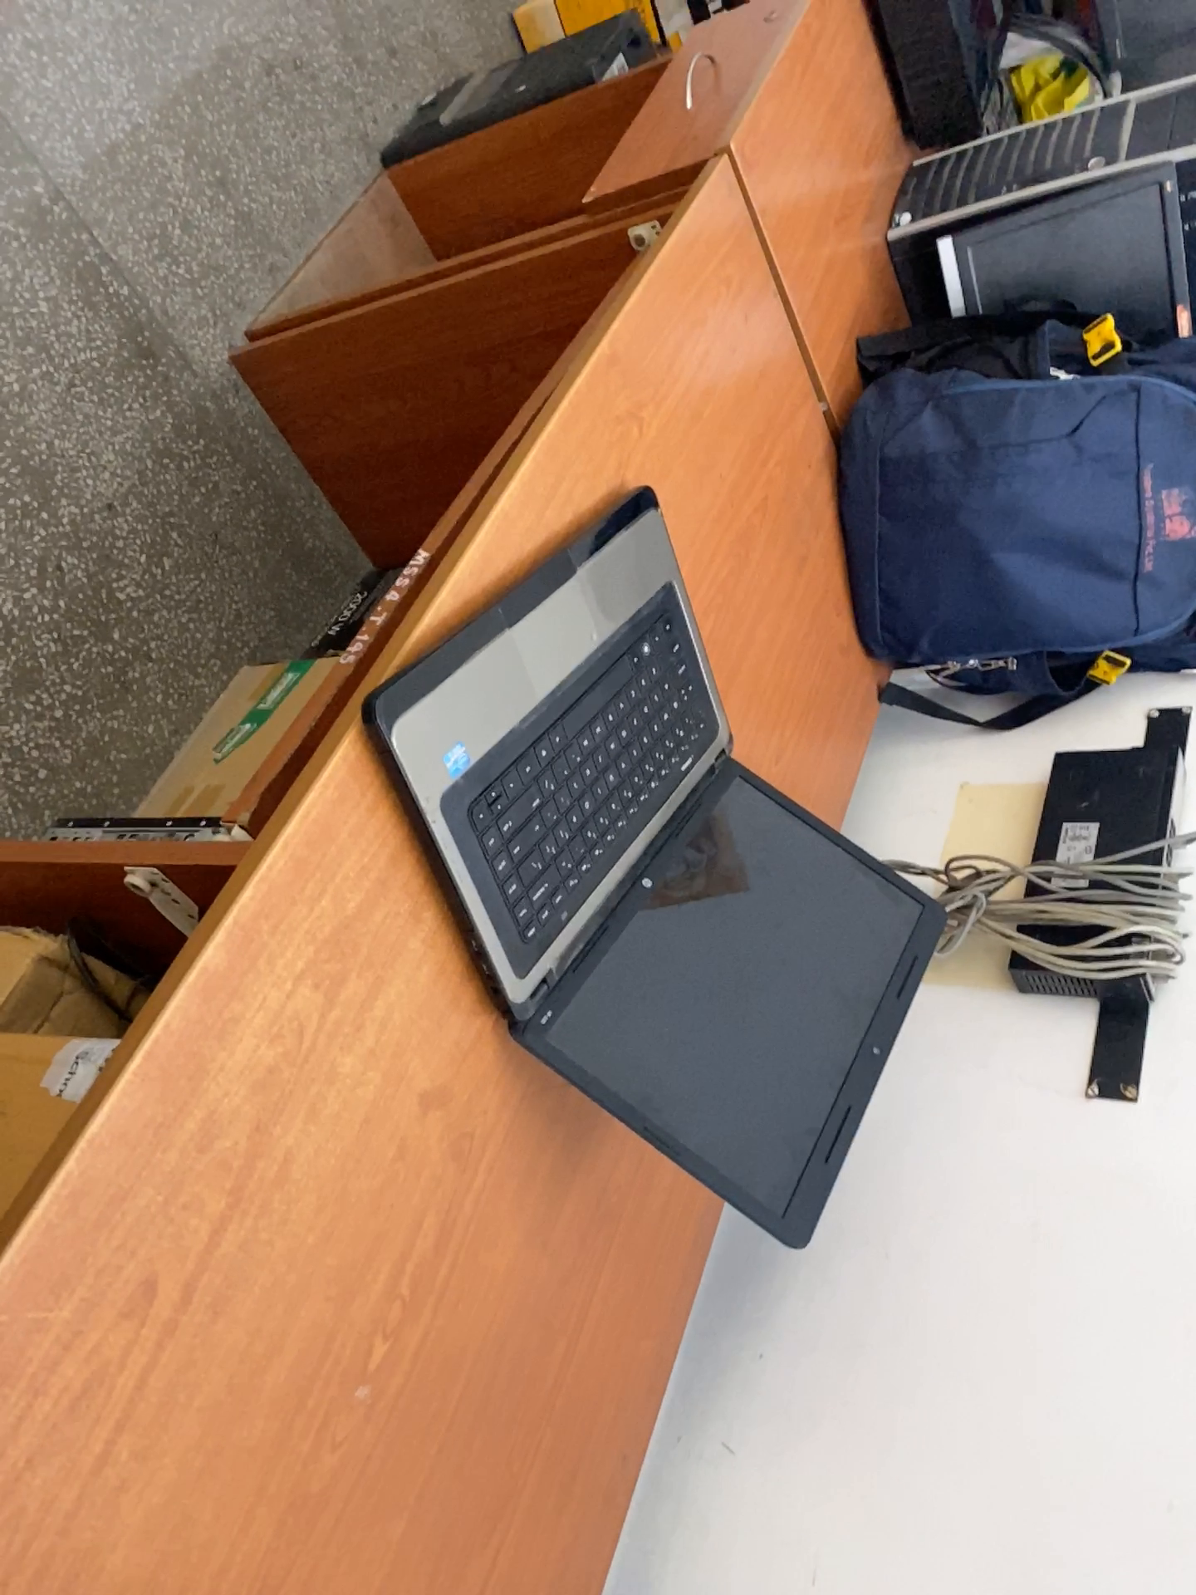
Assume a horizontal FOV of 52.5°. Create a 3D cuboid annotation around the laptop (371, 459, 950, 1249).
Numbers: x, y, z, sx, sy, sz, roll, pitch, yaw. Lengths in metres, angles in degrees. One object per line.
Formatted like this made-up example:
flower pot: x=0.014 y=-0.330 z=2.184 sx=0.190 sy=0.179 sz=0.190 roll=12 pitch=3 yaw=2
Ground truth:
laptop: x=0.091 y=0.027 z=0.909 sx=0.384 sy=0.158 sz=0.426 roll=-48 pitch=127 yaw=-45
